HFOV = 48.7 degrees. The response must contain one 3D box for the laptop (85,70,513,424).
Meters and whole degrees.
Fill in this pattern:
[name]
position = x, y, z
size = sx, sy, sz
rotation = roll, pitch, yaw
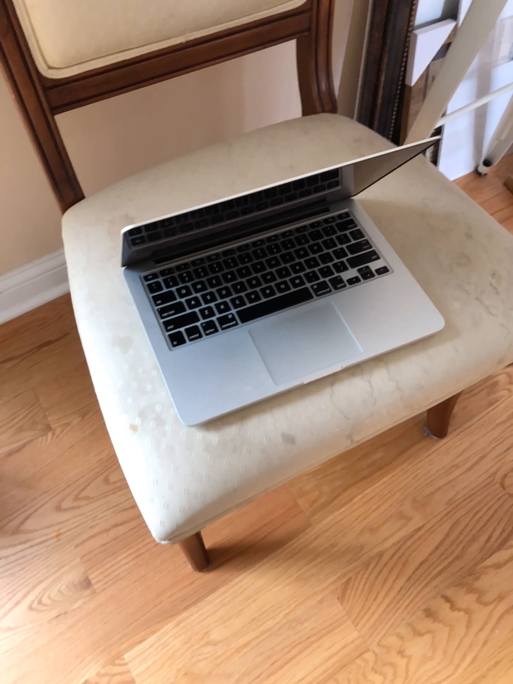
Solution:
[laptop]
position = 0.029, -0.099, 0.574
size = 0.309, 0.183, 0.218
rotation = -20, 60, -13
